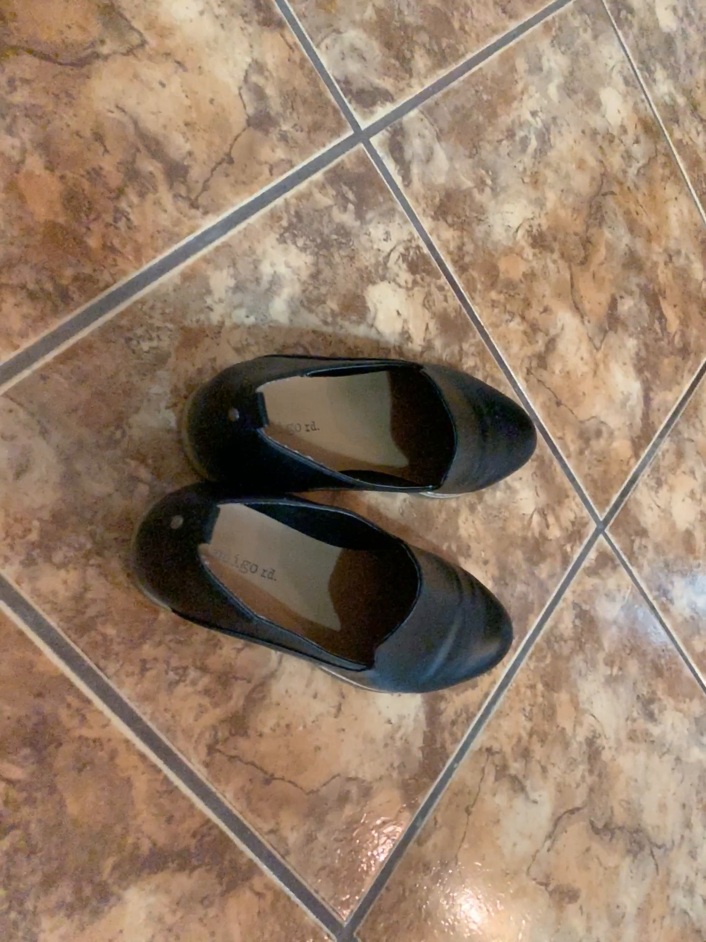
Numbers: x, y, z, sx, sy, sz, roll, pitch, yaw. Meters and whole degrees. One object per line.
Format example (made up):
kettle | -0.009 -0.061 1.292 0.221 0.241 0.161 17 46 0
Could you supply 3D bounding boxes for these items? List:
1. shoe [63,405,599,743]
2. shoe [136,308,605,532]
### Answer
shoe | 0.007 0.063 0.357 0.257 0.070 0.086 24 70 -30
shoe | 0.023 -0.022 0.393 0.256 0.070 0.087 -1 84 -35
